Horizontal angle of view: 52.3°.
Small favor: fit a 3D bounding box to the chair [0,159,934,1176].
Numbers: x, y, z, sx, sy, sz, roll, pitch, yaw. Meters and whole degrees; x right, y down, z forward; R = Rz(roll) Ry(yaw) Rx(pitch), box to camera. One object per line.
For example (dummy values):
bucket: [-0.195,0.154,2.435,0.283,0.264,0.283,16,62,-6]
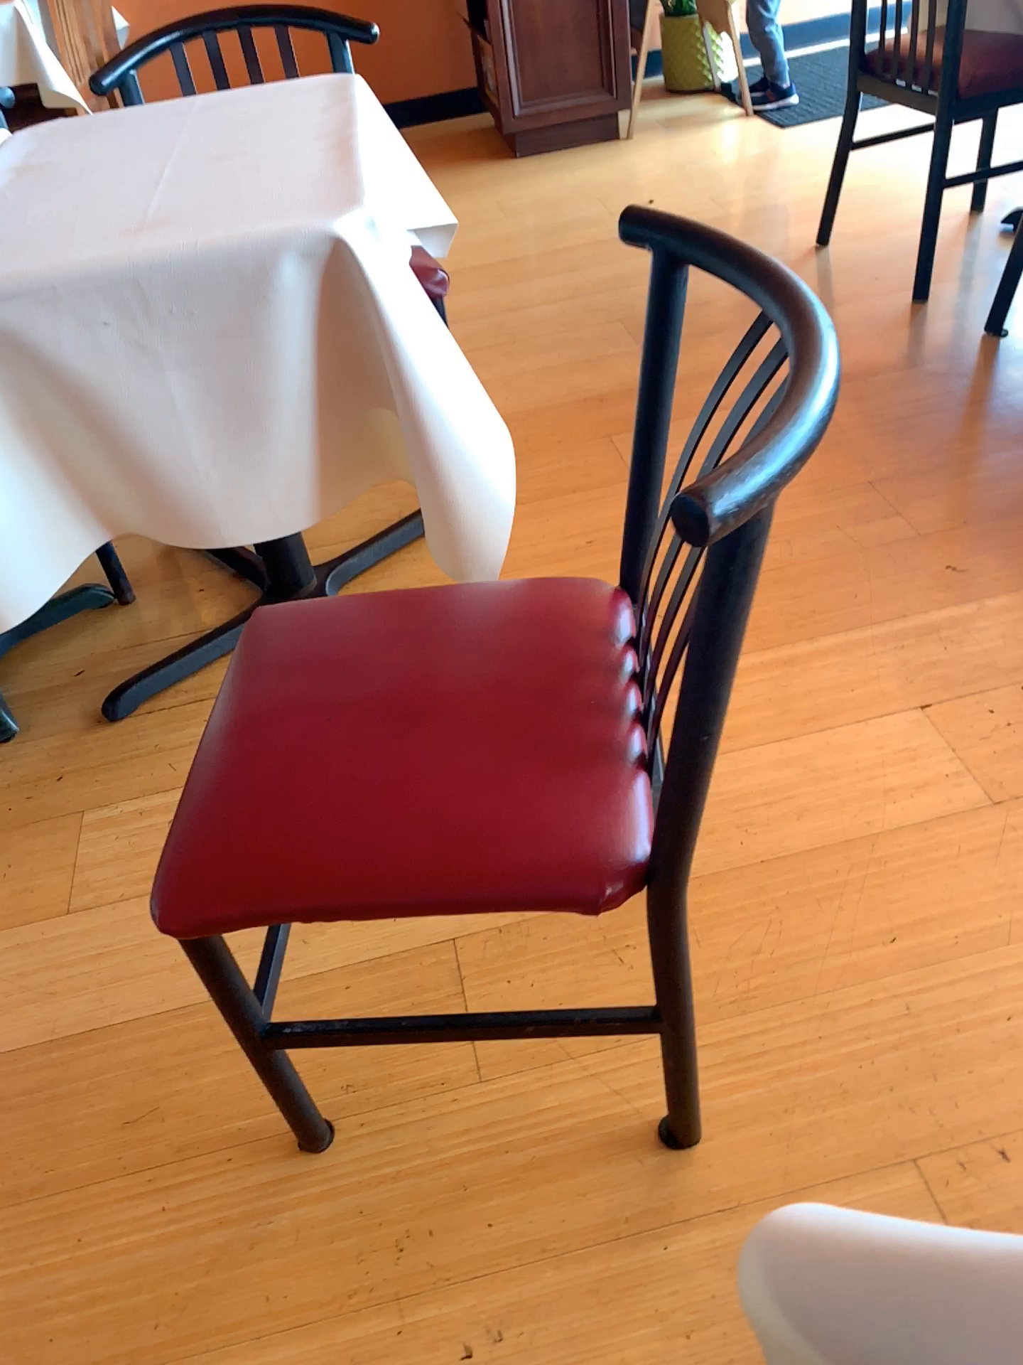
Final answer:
chair: [-0.032,0.036,0.936,0.570,0.726,0.483,-6,43,6]
